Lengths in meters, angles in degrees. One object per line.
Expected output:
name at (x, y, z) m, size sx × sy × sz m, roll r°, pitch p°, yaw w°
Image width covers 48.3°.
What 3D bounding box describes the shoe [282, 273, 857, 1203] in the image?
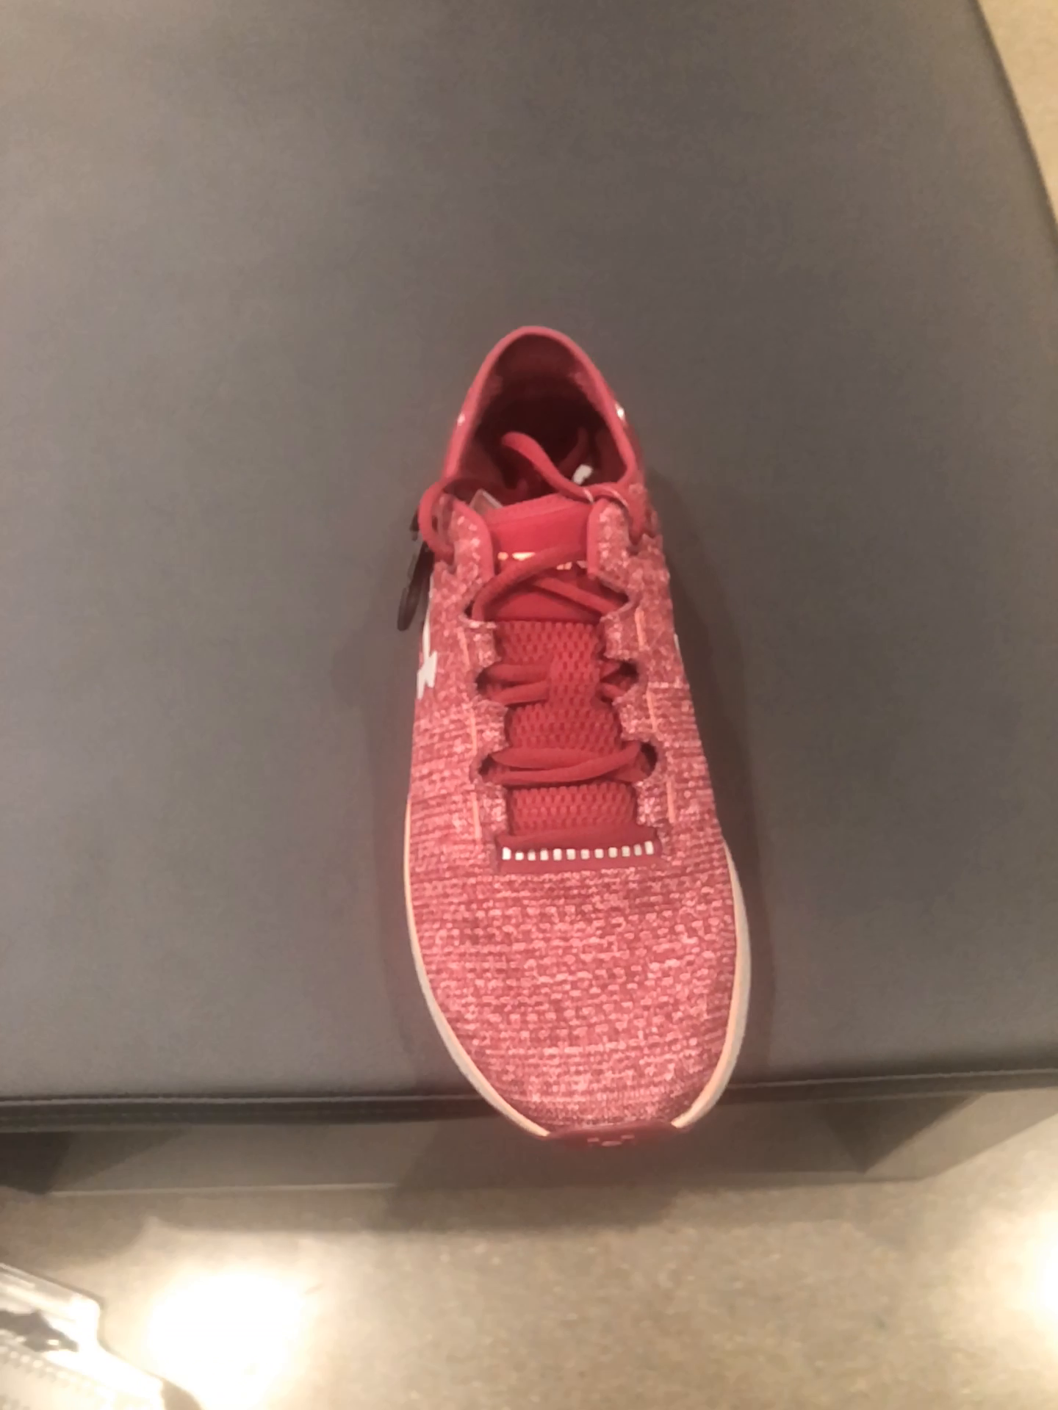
shoe at (0.000, 0.003, 0.361) m, size 0.121 × 0.097 × 0.254 m, roll -8°, pitch 61°, yaw 1°
